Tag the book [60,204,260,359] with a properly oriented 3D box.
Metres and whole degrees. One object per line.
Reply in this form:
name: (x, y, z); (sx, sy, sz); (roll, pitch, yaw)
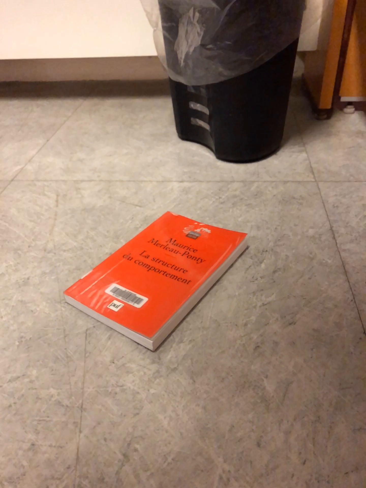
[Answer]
book: (-0.018, 0.027, 0.469); (0.135, 0.020, 0.201); (22, 44, 29)
